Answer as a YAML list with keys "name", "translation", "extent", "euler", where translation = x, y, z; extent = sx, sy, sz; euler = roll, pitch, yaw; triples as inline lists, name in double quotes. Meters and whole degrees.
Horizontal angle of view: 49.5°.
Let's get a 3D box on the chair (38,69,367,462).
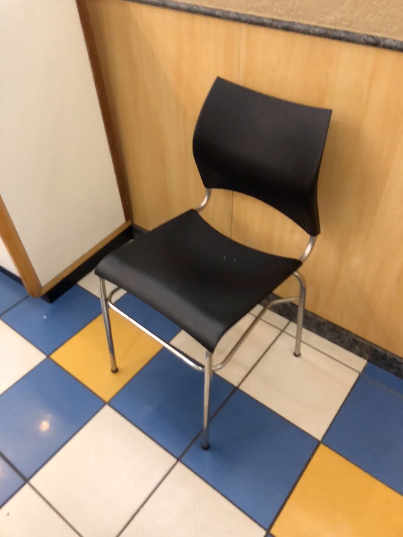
- name: "chair"
  translation: [0.020, -0.001, 1.284]
  extent: [0.512, 0.873, 0.553]
  euler: [30, 51, 29]
